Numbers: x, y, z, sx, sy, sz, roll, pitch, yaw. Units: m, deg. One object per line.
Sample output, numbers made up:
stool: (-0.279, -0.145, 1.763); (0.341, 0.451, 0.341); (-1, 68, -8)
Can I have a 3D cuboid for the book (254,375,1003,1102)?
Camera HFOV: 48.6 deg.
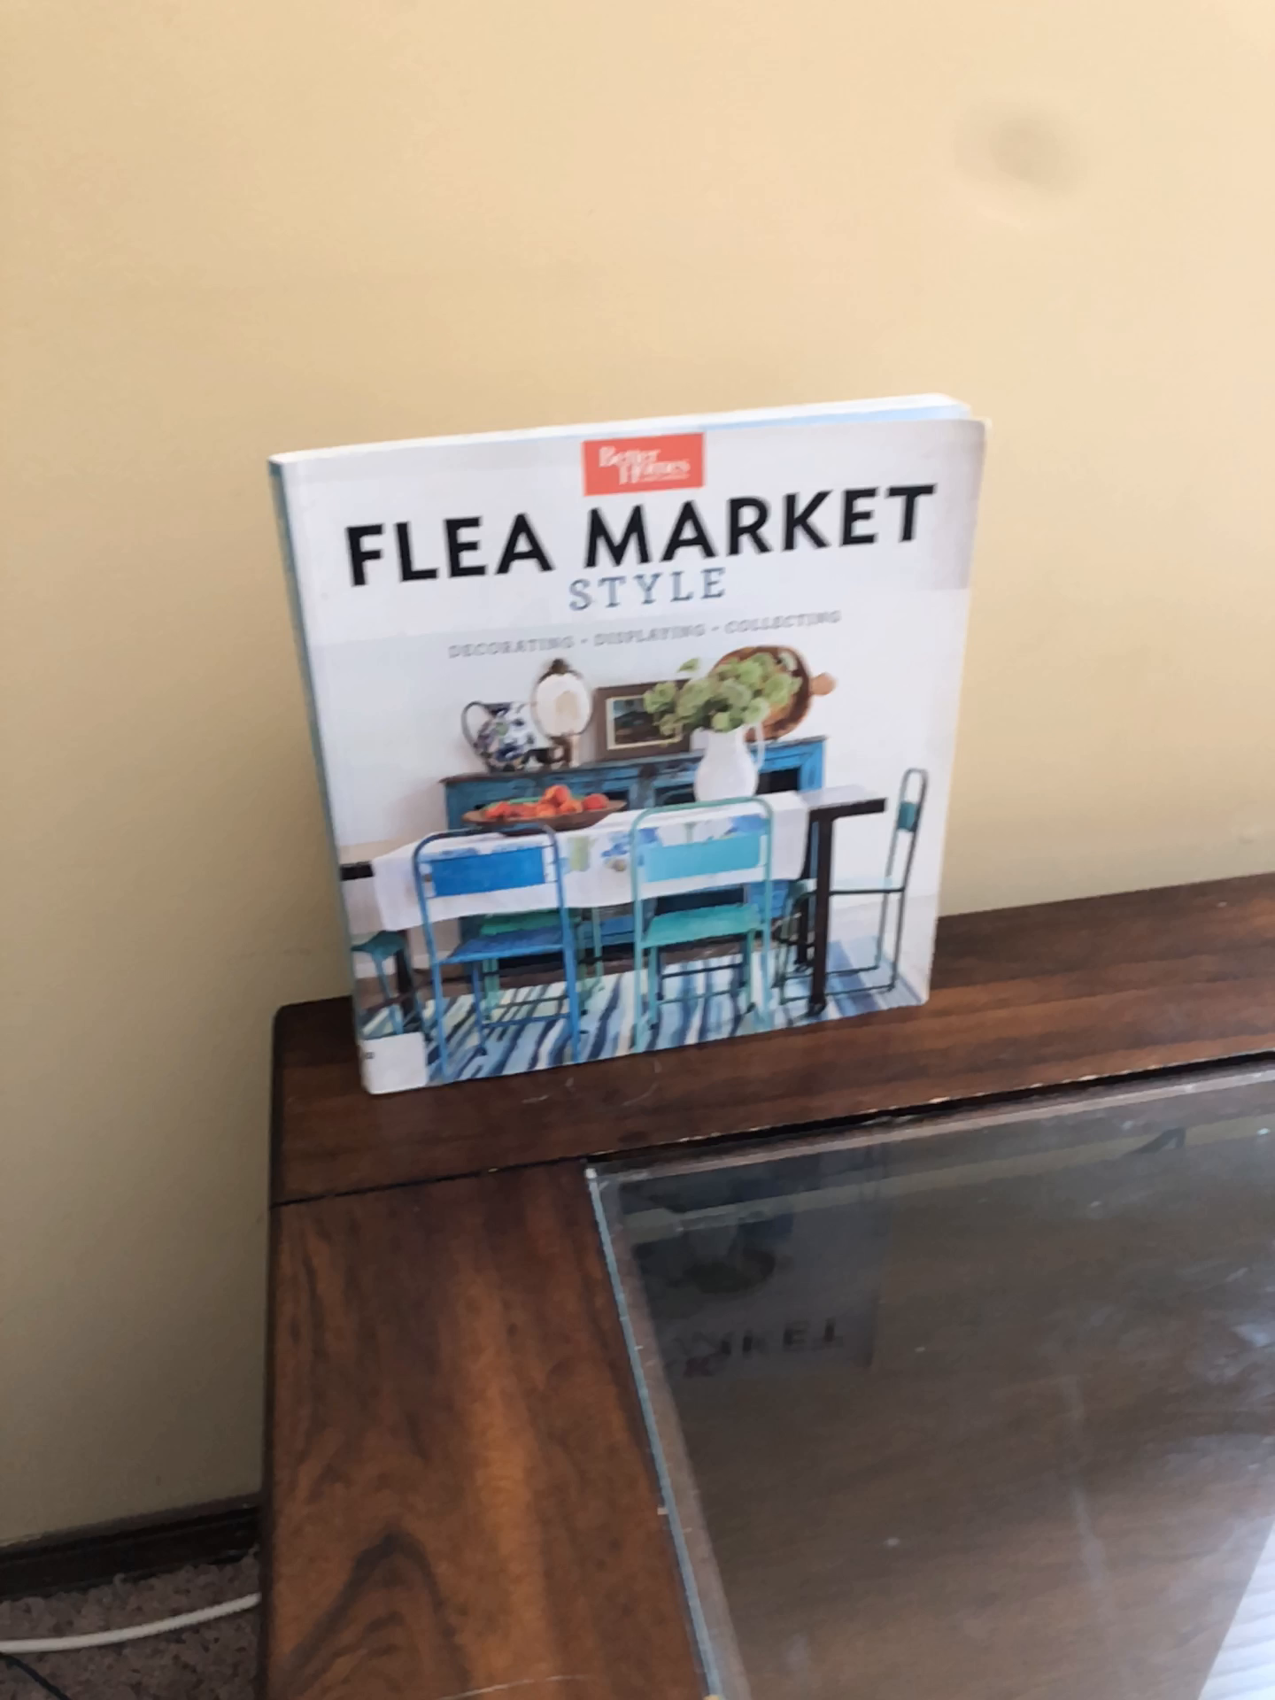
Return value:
book: (0.003, -0.033, 0.502); (0.233, 0.239, 0.032); (-8, 32, -11)
